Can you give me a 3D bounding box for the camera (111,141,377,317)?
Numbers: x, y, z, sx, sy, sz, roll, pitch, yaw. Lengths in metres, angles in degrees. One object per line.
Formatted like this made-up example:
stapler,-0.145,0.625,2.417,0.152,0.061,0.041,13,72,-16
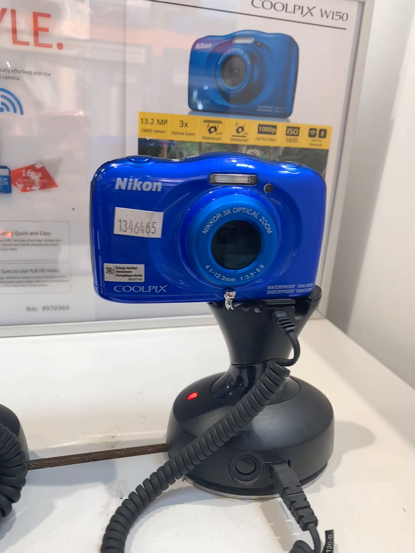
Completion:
camera,0.011,-0.022,0.189,0.101,0.063,0.046,0,18,-14
